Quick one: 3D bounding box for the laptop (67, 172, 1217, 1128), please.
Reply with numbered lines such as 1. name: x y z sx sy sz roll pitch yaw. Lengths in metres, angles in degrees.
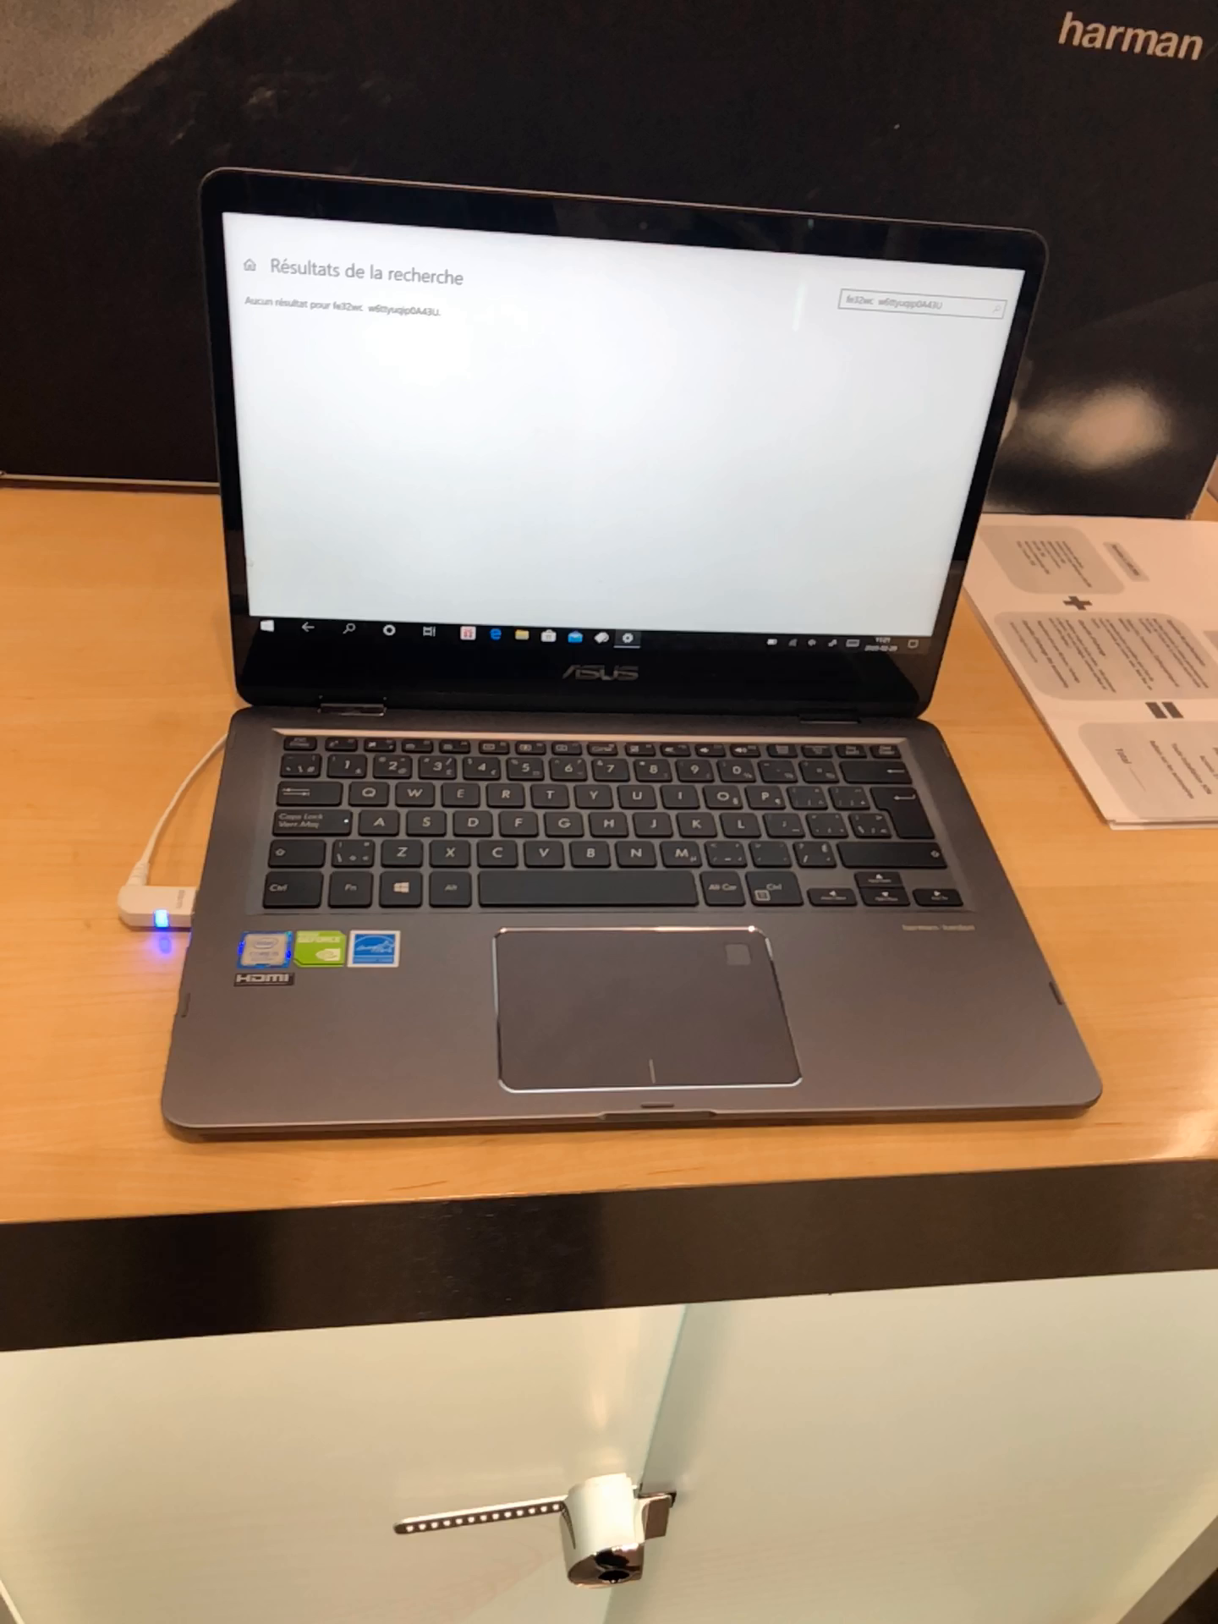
1. laptop: 0.017 -0.060 0.477 0.320 0.224 0.240 0 41 -9
